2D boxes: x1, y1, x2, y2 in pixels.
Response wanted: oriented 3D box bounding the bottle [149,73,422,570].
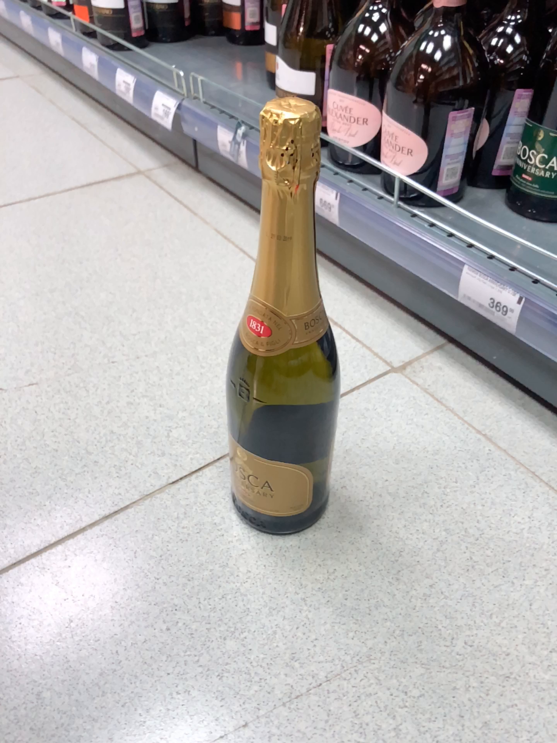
[{"bbox_3d":[0.001,-0.015,0.420,0.100,0.314,0.100,1,40,0],"label":"bottle"}]
